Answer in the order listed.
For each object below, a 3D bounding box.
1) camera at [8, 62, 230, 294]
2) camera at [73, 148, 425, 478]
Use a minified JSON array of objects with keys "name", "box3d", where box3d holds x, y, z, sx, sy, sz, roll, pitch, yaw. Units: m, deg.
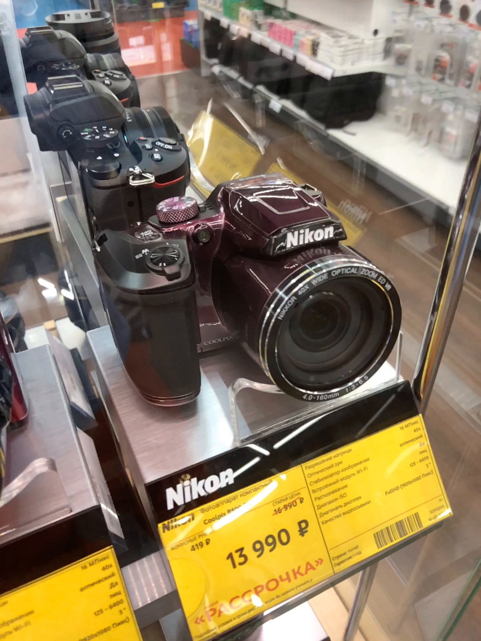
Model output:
[{"name":"camera","box3d":[-0.079,-0.100,0.344,0.100,0.084,0.134,-16,42,-17]},{"name":"camera","box3d":[-0.002,-0.012,0.240,0.109,0.080,0.100,-16,42,-18]}]
